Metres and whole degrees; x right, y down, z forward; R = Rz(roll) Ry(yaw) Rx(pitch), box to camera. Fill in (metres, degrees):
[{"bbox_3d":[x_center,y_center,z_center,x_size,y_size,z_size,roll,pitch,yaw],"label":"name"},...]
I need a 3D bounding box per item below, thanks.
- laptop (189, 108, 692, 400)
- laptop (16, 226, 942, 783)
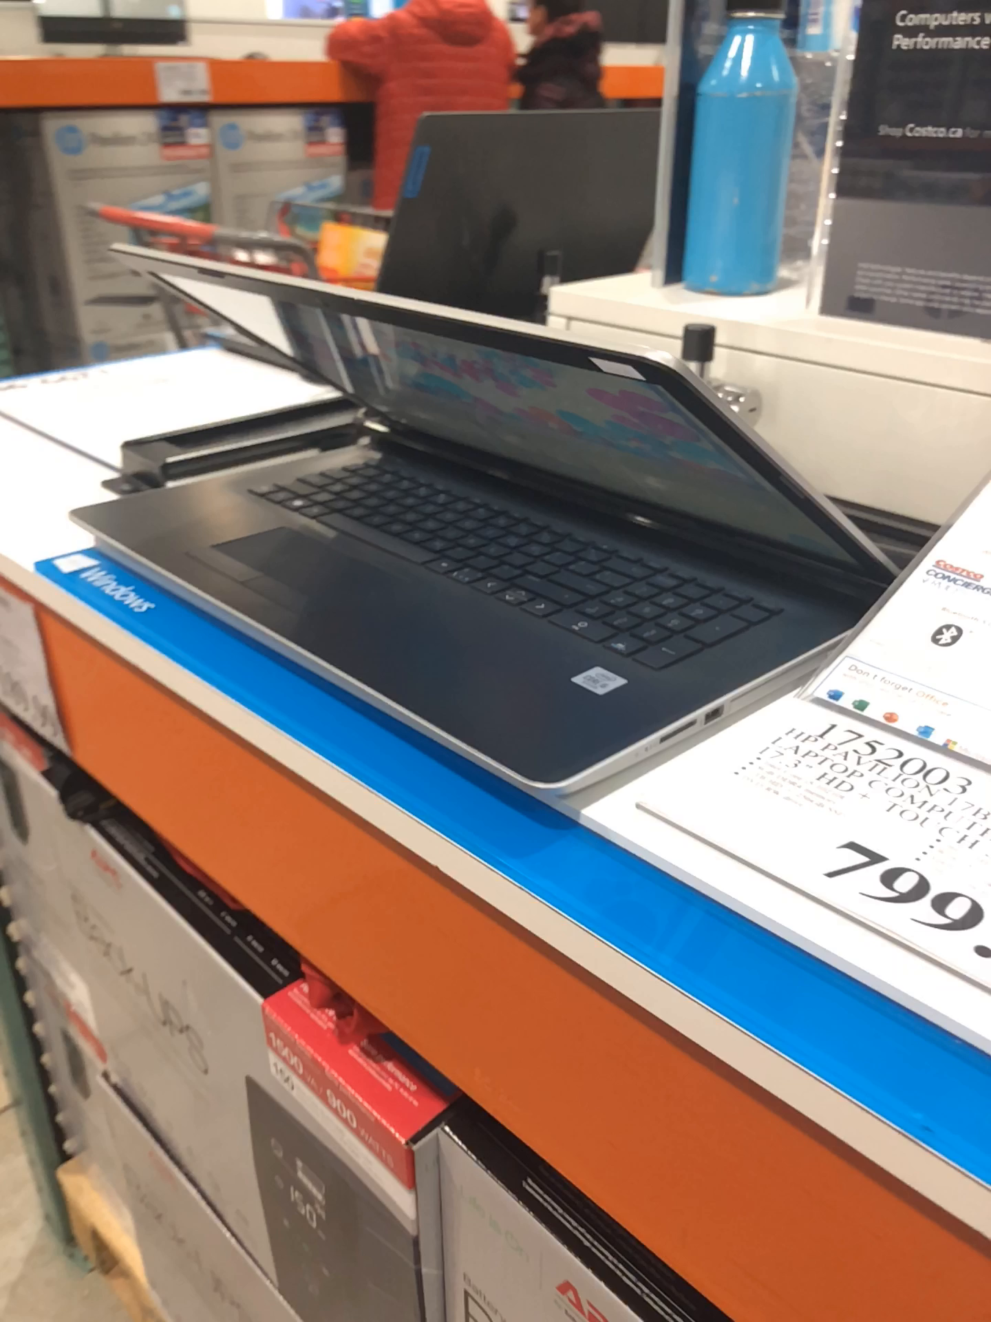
[{"bbox_3d":[-0.051,-0.424,1.084,0.340,0.212,0.331,-24,36,-39],"label":"laptop"},{"bbox_3d":[-0.031,-0.128,0.578,0.257,0.150,0.407,-22,34,-37],"label":"laptop"}]
